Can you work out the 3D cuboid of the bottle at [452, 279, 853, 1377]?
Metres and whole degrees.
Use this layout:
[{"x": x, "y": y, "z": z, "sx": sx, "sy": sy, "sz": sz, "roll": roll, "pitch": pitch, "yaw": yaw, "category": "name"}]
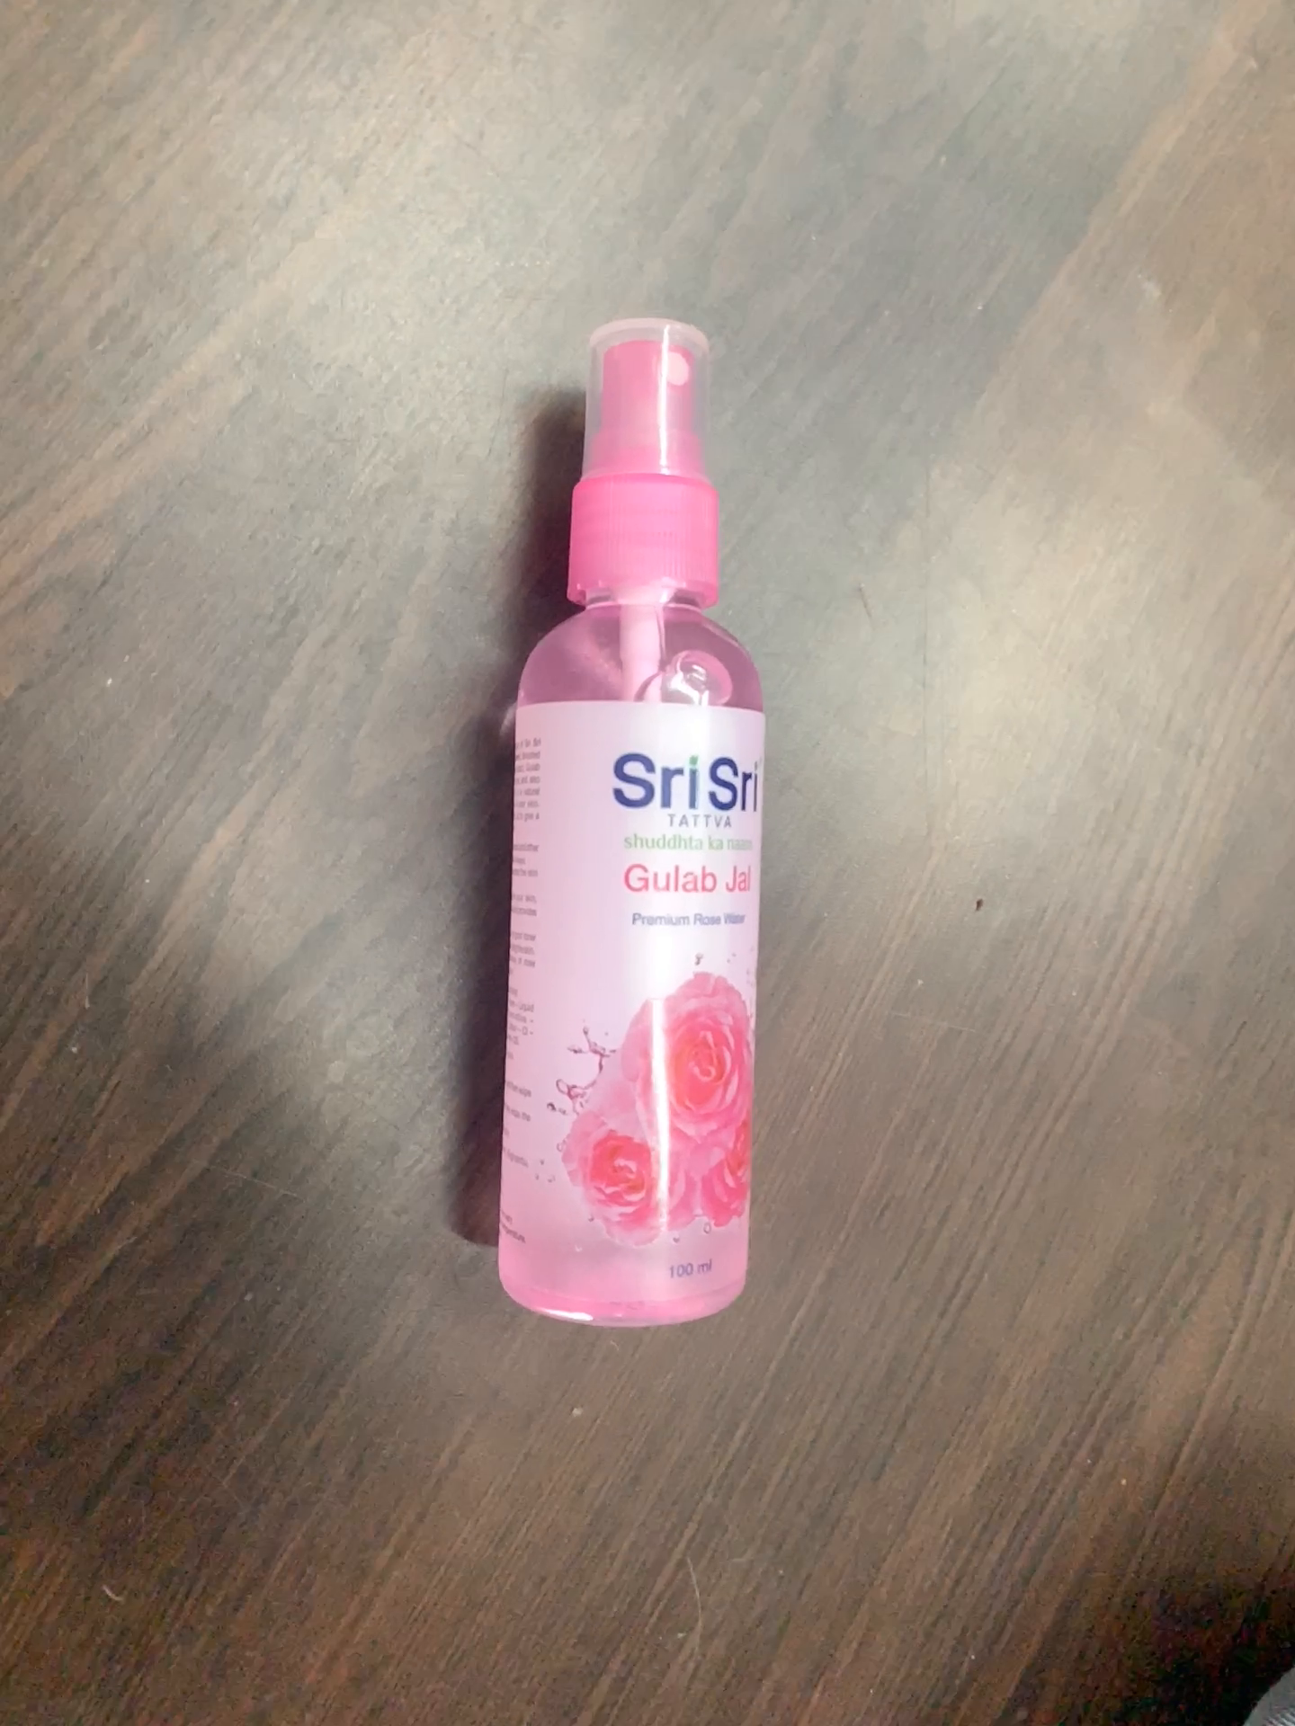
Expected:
[{"x": -0.001, "y": -0.004, "z": 0.197, "sx": 0.040, "sy": 0.040, "sz": 0.140, "roll": 2, "pitch": 92, "yaw": -22, "category": "bottle"}]
